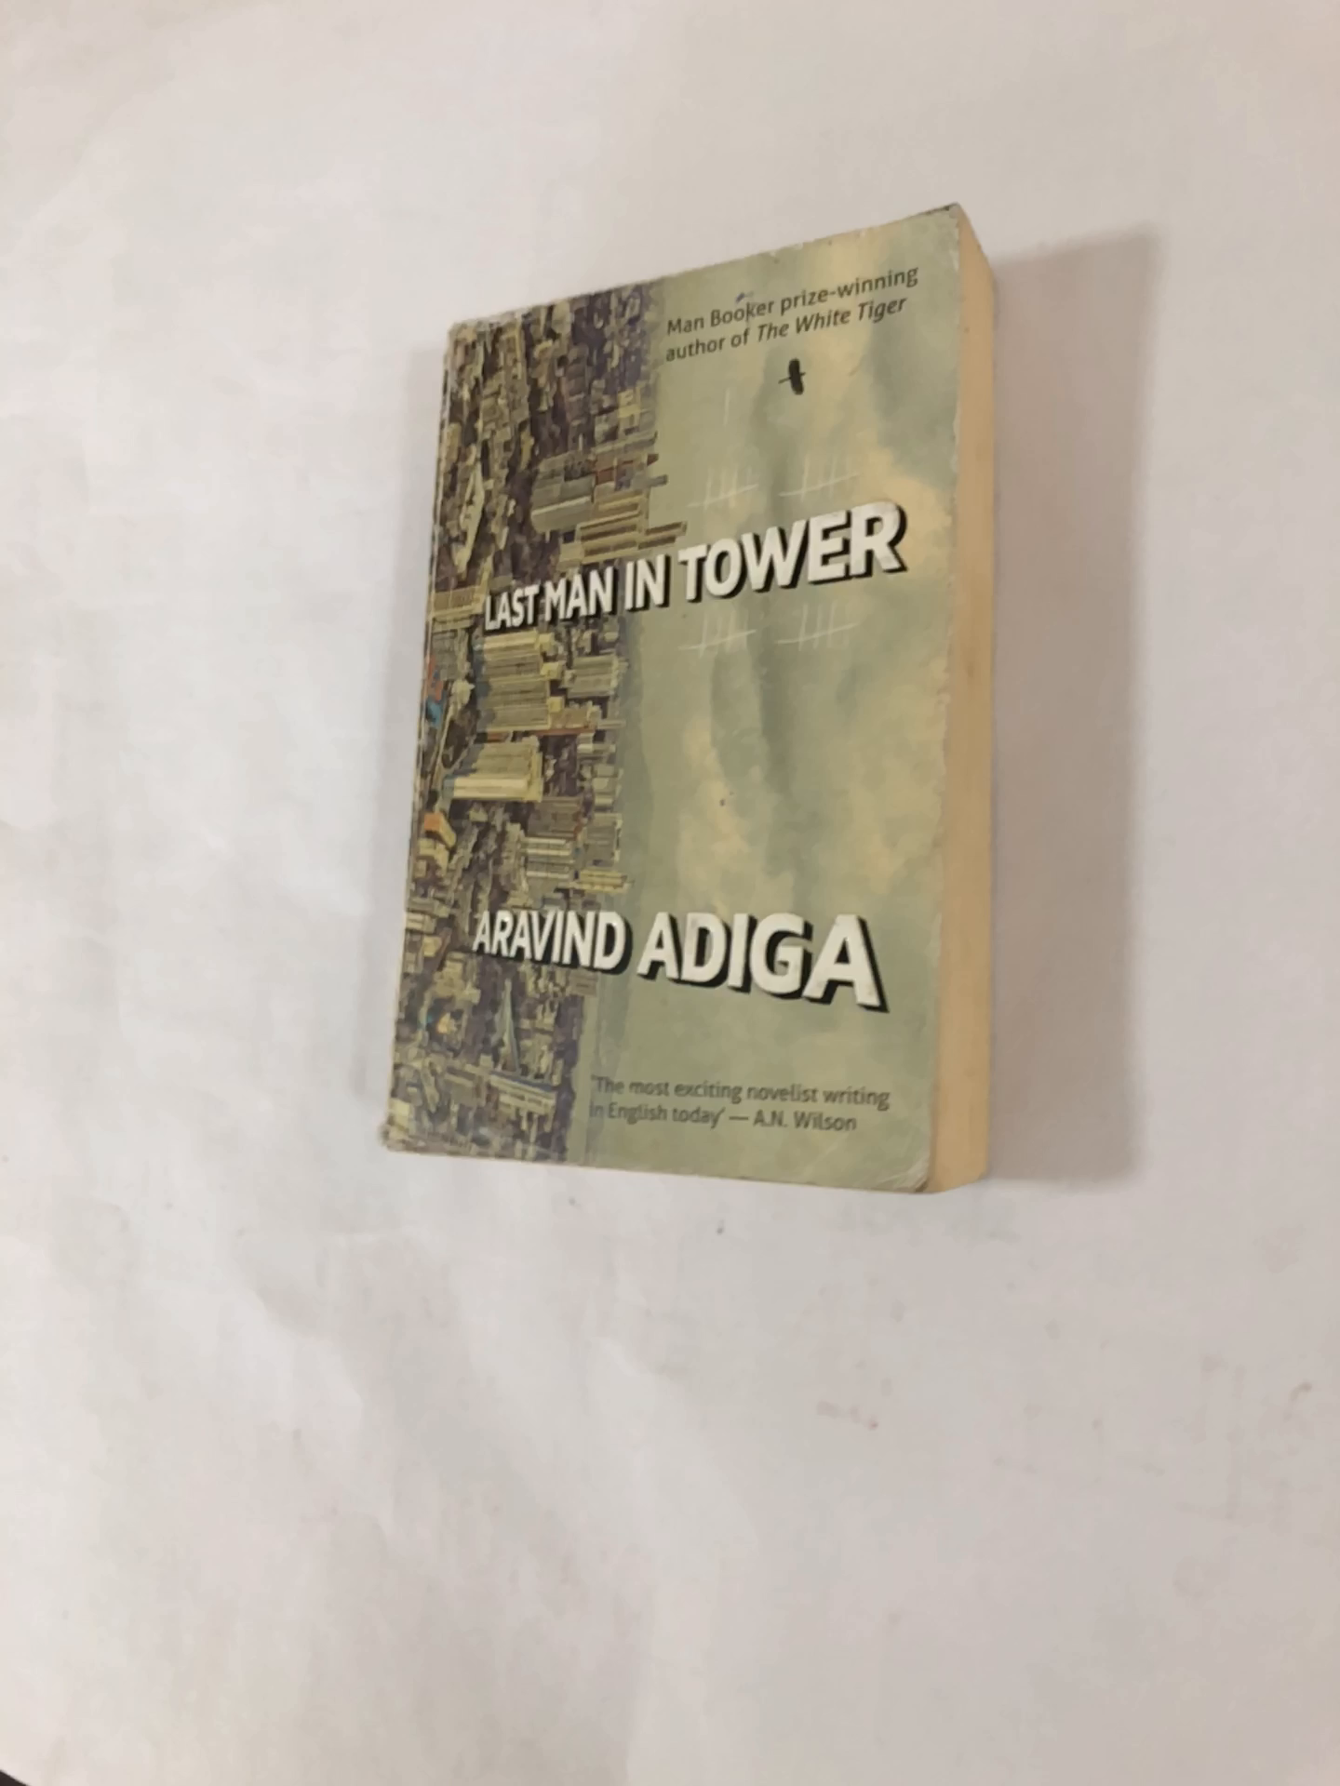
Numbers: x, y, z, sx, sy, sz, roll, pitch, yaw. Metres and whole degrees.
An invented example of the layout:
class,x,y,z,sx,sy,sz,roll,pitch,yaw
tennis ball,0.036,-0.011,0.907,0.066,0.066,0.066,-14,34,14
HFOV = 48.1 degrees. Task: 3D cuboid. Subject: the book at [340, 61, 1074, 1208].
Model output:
class,x,y,z,sx,sy,sz,roll,pitch,yaw
book,0.007,-0.049,0.323,0.150,0.030,0.220,-3,79,28
